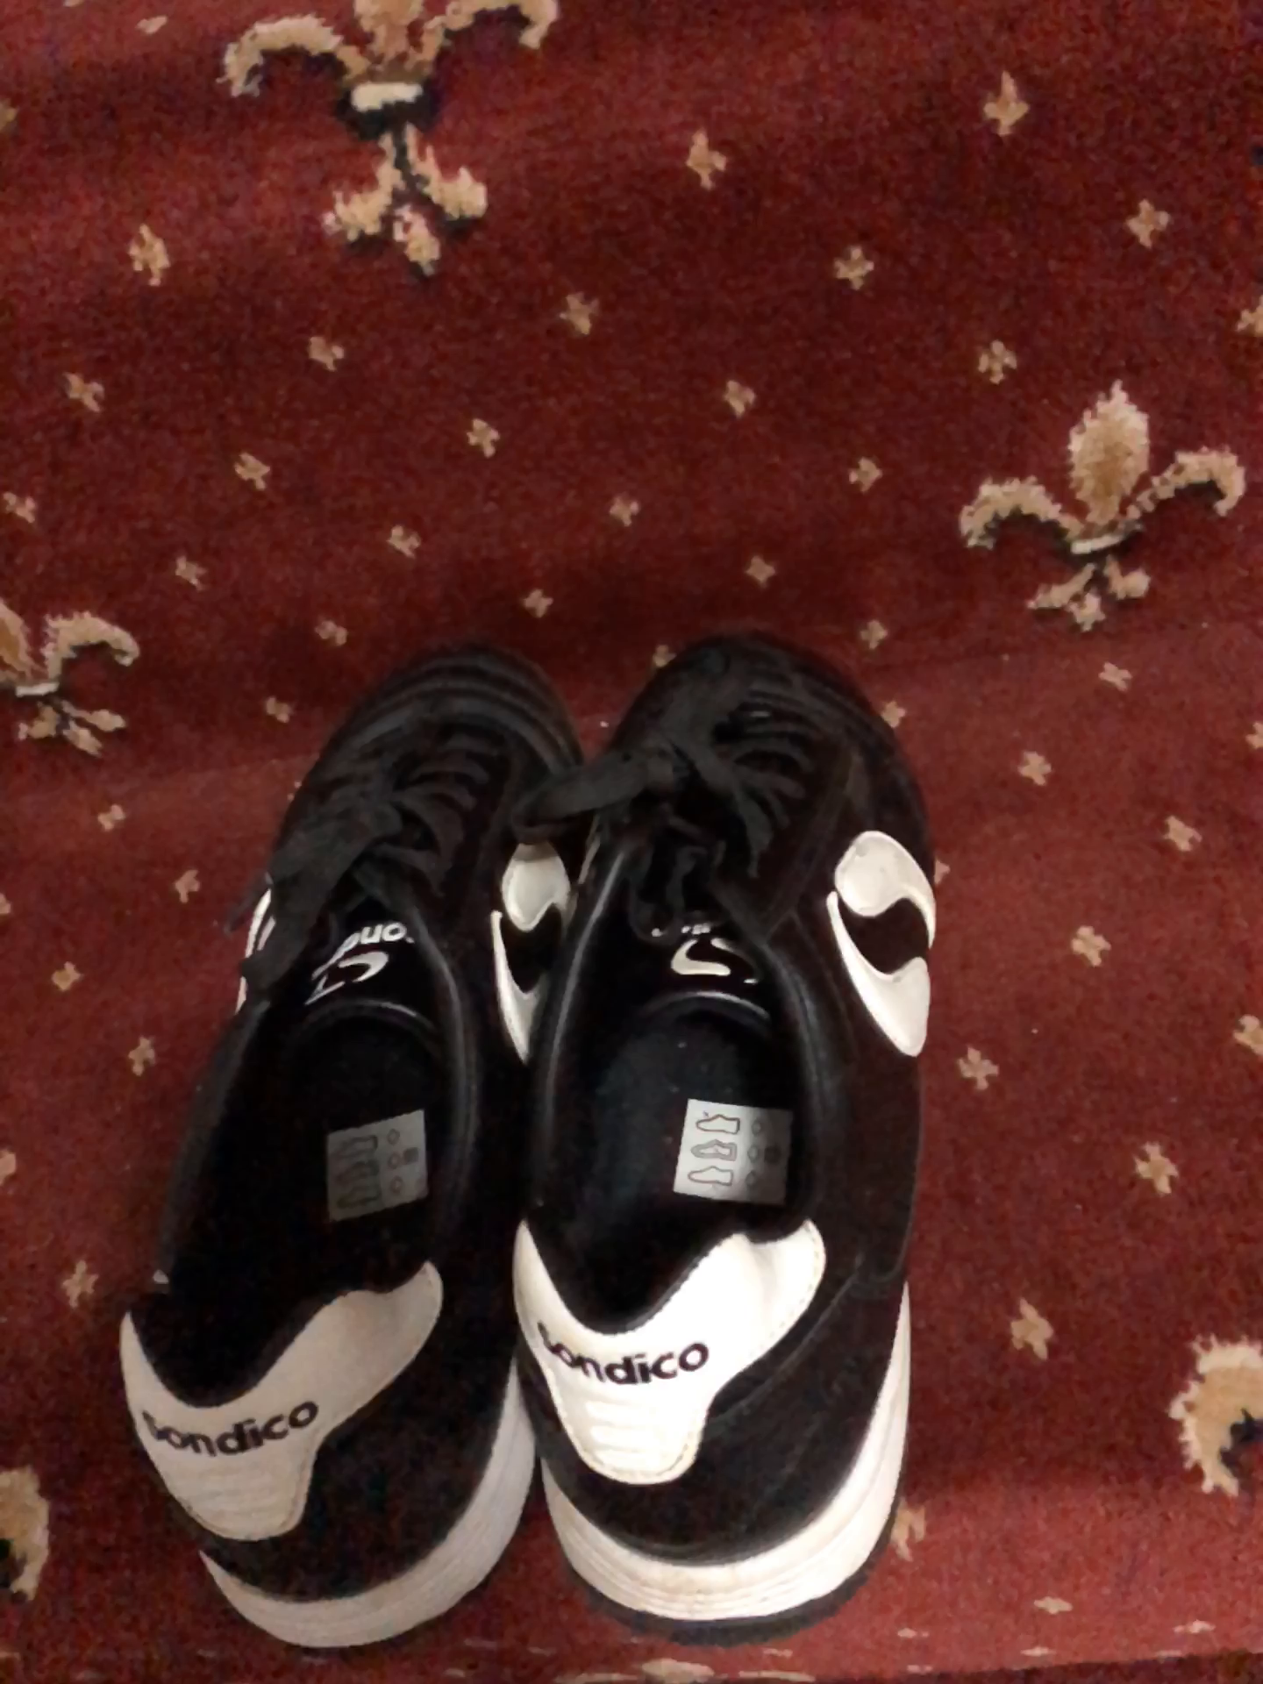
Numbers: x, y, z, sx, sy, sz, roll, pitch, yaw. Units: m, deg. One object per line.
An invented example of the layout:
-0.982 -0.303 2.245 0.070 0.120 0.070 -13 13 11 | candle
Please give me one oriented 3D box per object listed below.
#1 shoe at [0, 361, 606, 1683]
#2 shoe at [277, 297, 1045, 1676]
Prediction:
-0.065 0.017 0.329 0.100 0.099 0.302 -7 47 7 | shoe
0.018 0.004 0.317 0.100 0.099 0.302 -4 48 9 | shoe
